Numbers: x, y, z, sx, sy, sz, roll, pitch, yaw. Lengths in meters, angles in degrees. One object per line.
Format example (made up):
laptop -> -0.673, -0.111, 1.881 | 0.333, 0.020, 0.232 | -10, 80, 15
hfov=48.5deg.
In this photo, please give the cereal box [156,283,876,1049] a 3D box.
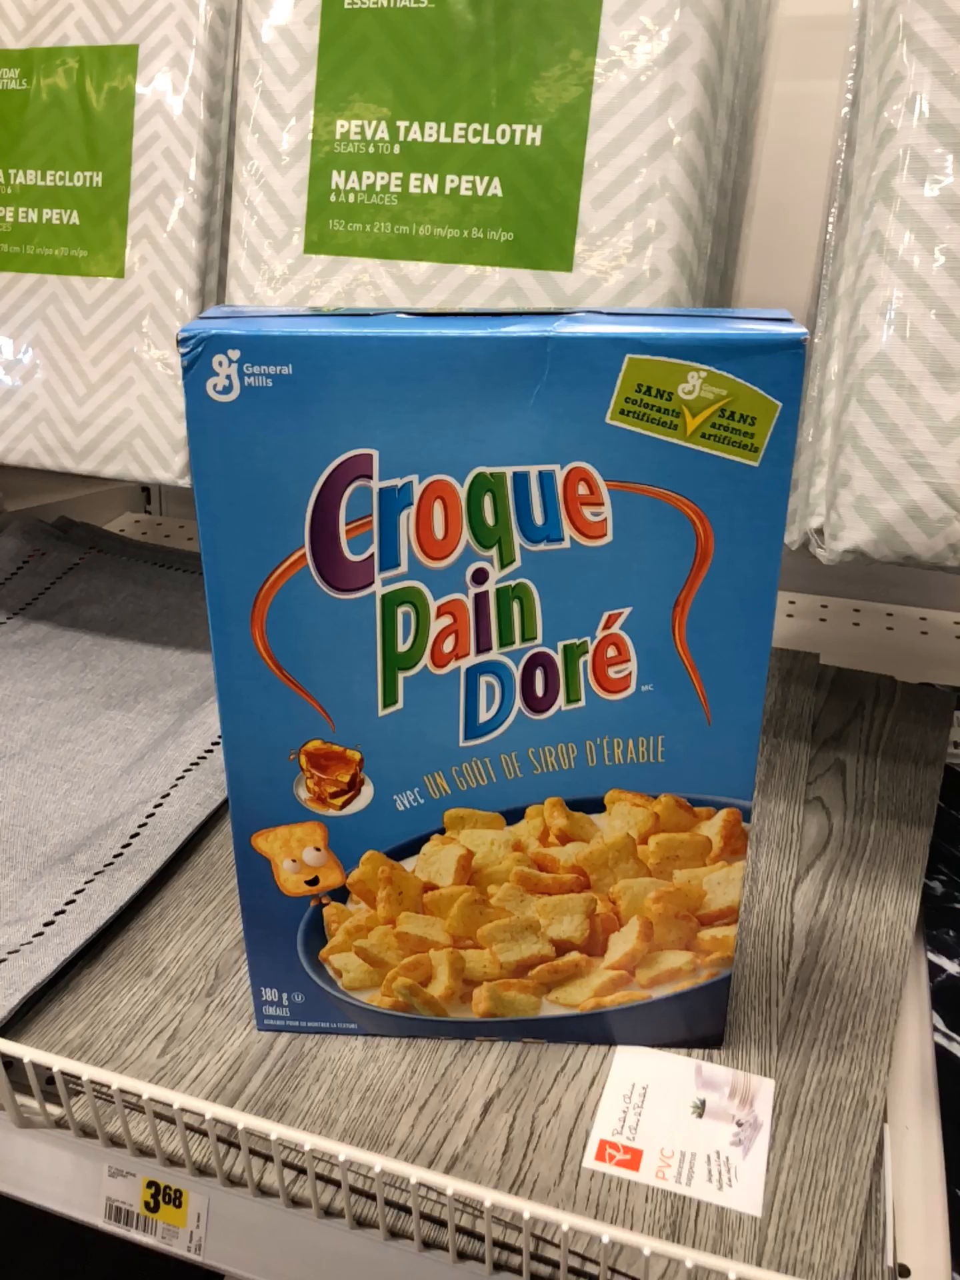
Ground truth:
cereal box -> 0.011, 0.019, 0.389 | 0.210, 0.279, 0.050 | 1, 23, 4
